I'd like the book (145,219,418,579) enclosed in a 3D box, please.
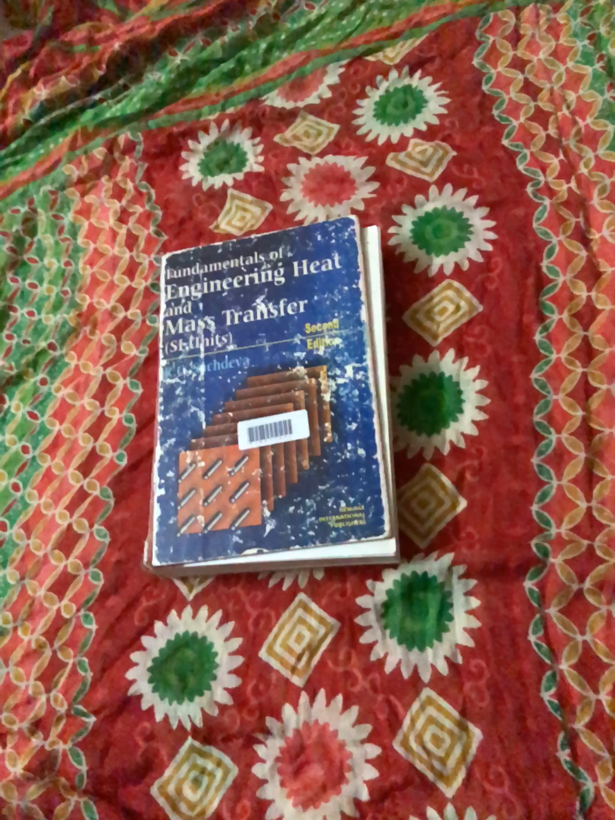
[{"bbox_3d":[-0.016,-0.006,0.427,0.150,0.043,0.209,-6,69,14],"label":"book"}]
